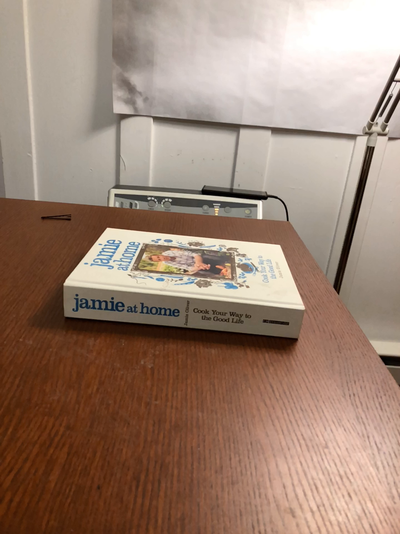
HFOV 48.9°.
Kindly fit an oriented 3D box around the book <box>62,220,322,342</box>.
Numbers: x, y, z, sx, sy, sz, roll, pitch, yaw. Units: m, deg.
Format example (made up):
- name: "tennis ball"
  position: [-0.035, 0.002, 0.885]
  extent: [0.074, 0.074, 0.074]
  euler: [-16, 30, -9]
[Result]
- name: "book"
  position: [-0.006, 0.005, 0.542]
  extent: [0.260, 0.040, 0.211]
  euler: [5, 24, -1]
